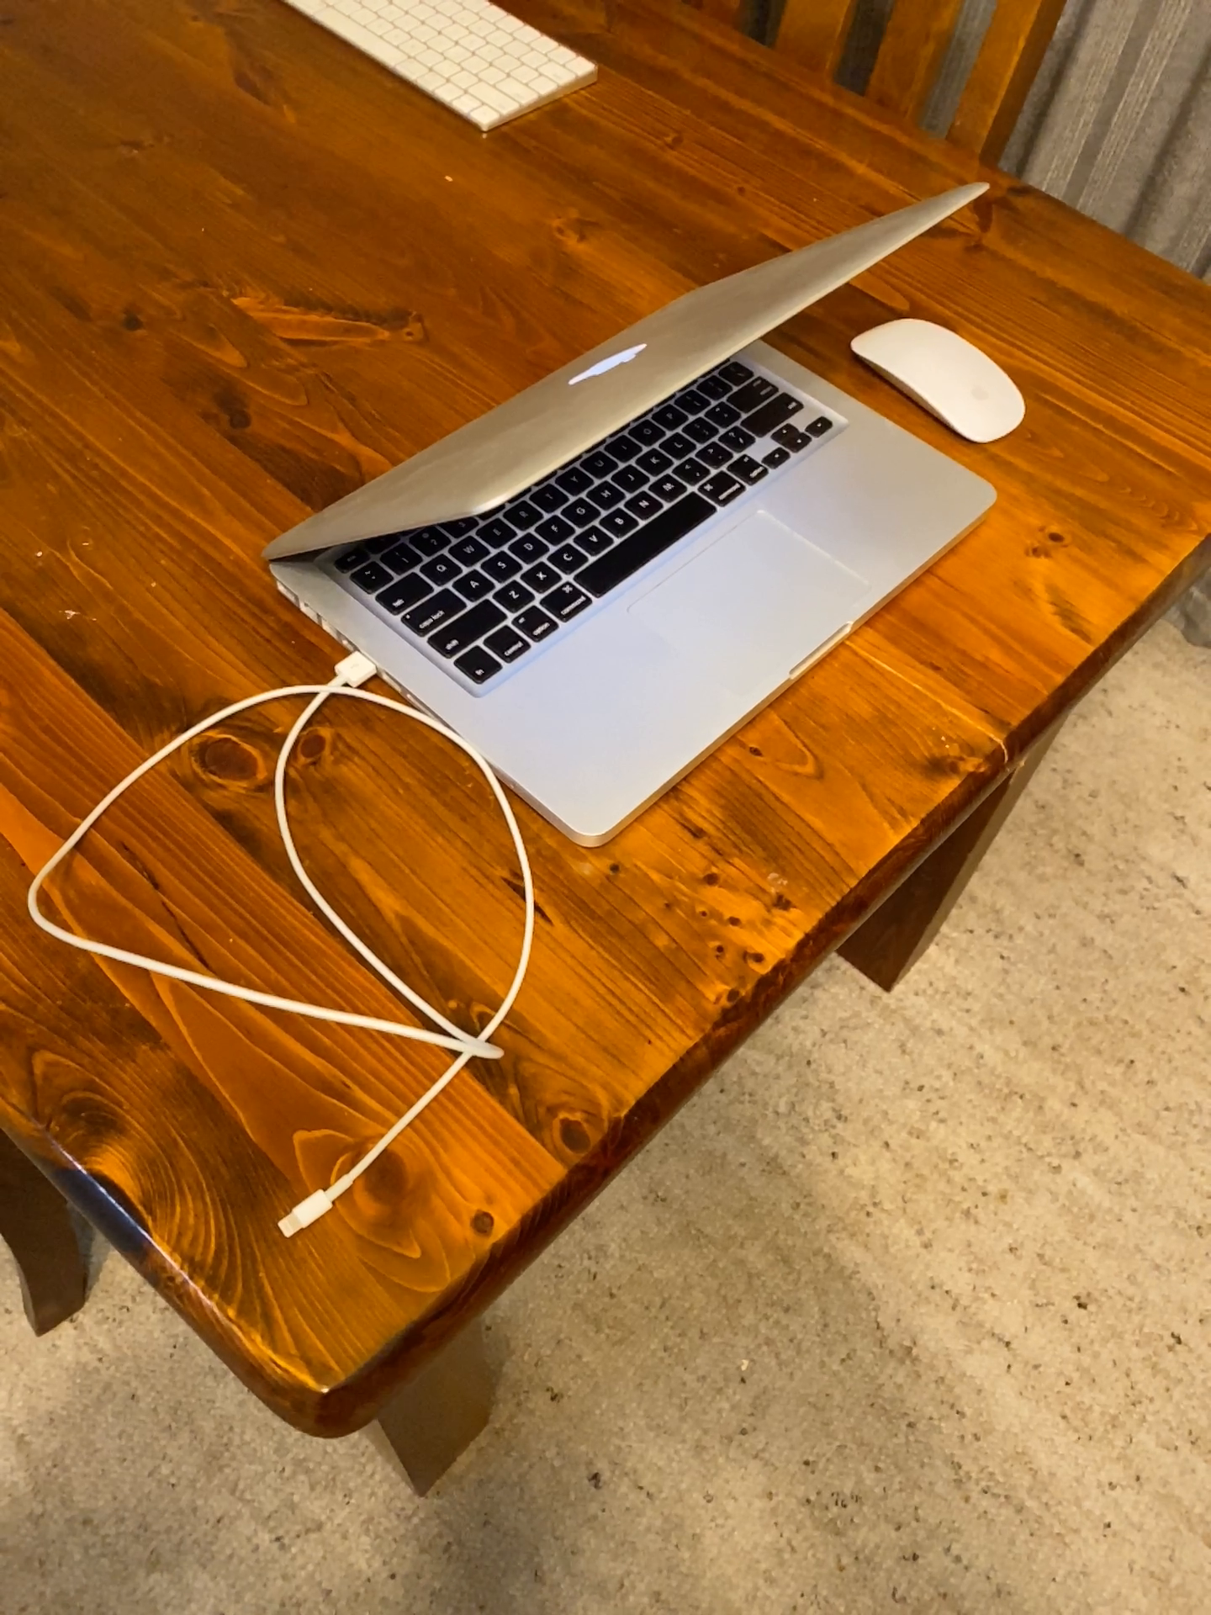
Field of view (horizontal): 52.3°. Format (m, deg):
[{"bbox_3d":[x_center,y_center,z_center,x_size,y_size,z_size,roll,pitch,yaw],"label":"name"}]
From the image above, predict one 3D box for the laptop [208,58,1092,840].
[{"bbox_3d":[0.026,-0.179,0.564,0.211,0.136,0.311,40,62,19],"label":"laptop"}]
